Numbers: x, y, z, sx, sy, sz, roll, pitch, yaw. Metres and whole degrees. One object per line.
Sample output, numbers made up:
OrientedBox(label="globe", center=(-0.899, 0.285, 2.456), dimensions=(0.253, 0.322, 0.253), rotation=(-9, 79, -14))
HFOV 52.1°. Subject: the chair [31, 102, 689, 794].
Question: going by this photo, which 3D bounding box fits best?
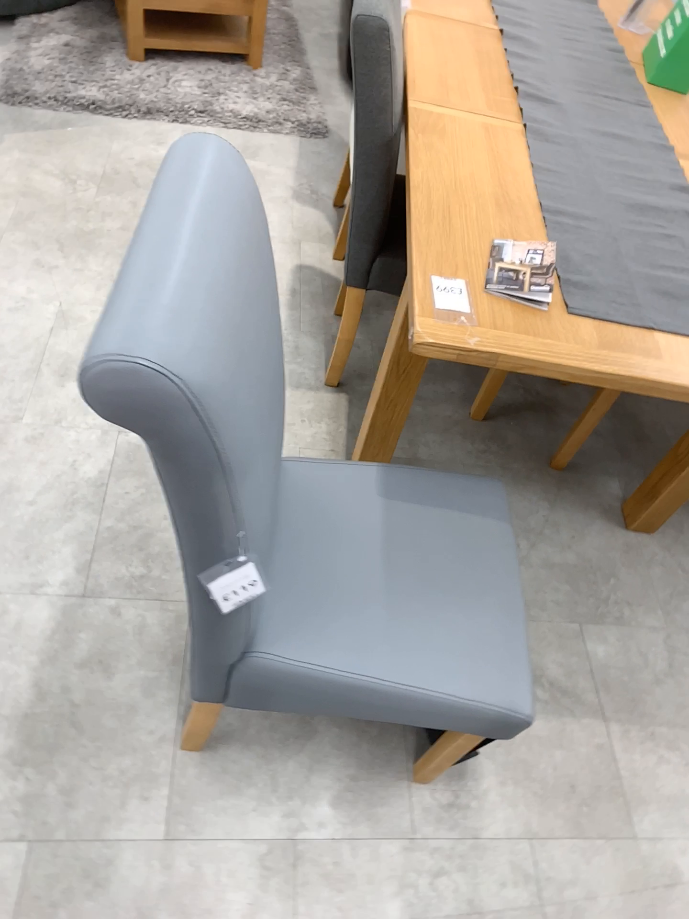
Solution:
OrientedBox(label="chair", center=(0.020, 0.100, 1.047), dimensions=(0.654, 0.907, 0.476), rotation=(9, 51, -7))
